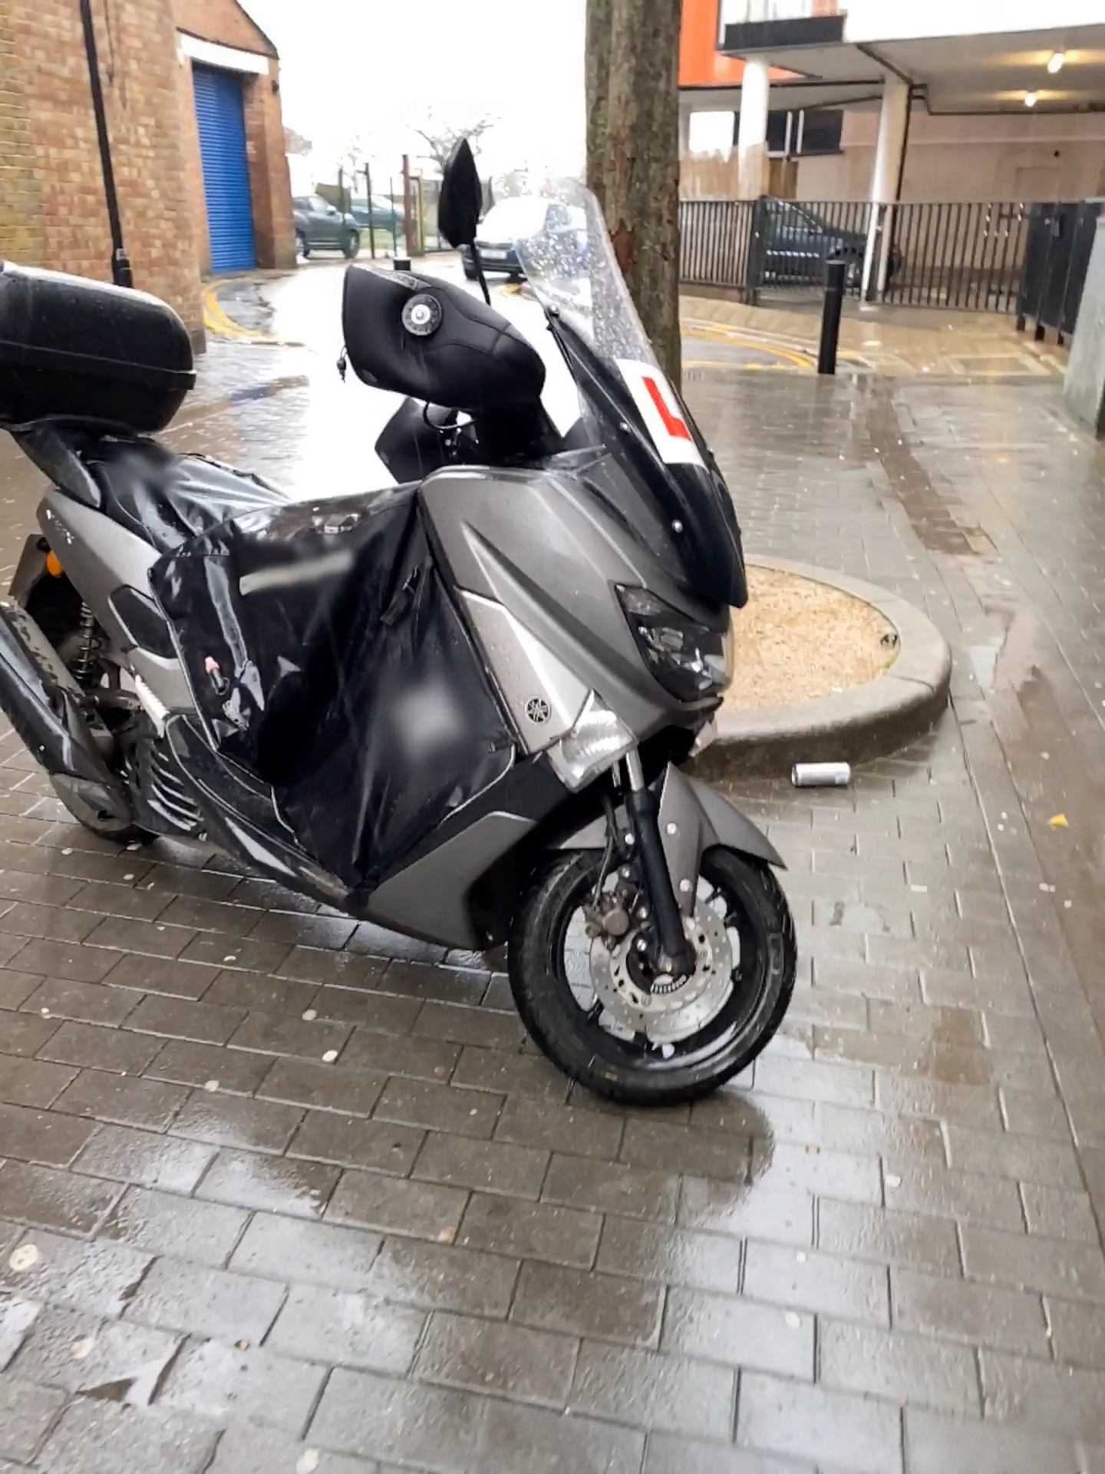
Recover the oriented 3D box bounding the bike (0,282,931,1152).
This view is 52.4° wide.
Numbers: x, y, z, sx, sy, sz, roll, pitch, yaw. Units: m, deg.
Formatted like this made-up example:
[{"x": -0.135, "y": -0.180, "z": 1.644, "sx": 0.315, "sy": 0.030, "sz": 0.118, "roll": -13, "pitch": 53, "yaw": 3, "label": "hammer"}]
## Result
[{"x": -0.312, "y": -0.202, "z": 2.158, "sx": 1.732, "sy": 1.122, "sz": 0.762, "roll": 13, "pitch": 27, "yaw": 24, "label": "bike"}]
